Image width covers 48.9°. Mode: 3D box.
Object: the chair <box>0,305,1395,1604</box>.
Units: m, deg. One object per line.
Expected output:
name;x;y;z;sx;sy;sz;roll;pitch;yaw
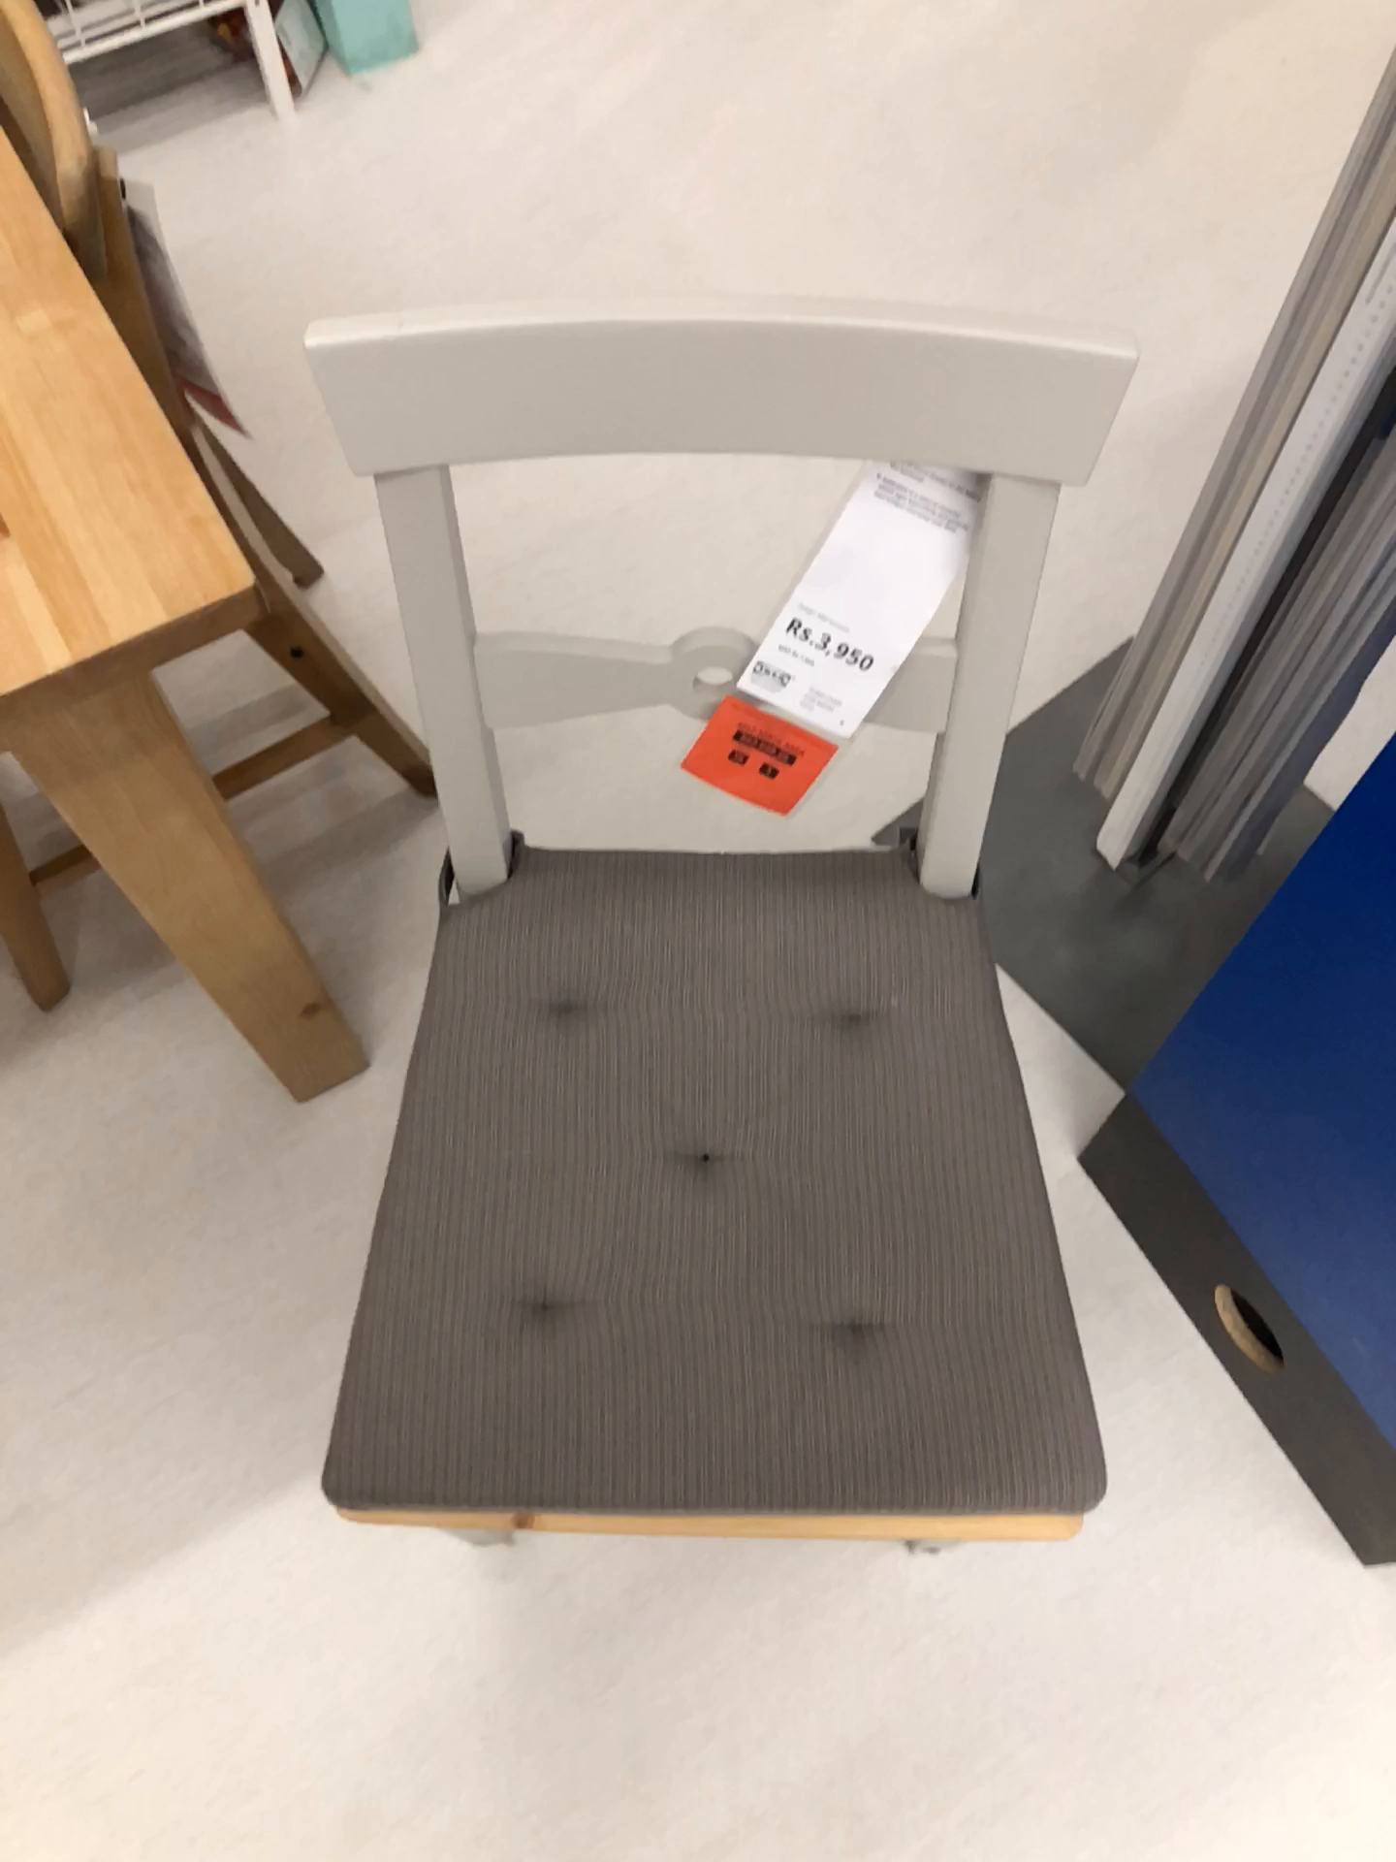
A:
chair;0.016;0.117;0.881;0.430;0.767;0.472;0;65;0
